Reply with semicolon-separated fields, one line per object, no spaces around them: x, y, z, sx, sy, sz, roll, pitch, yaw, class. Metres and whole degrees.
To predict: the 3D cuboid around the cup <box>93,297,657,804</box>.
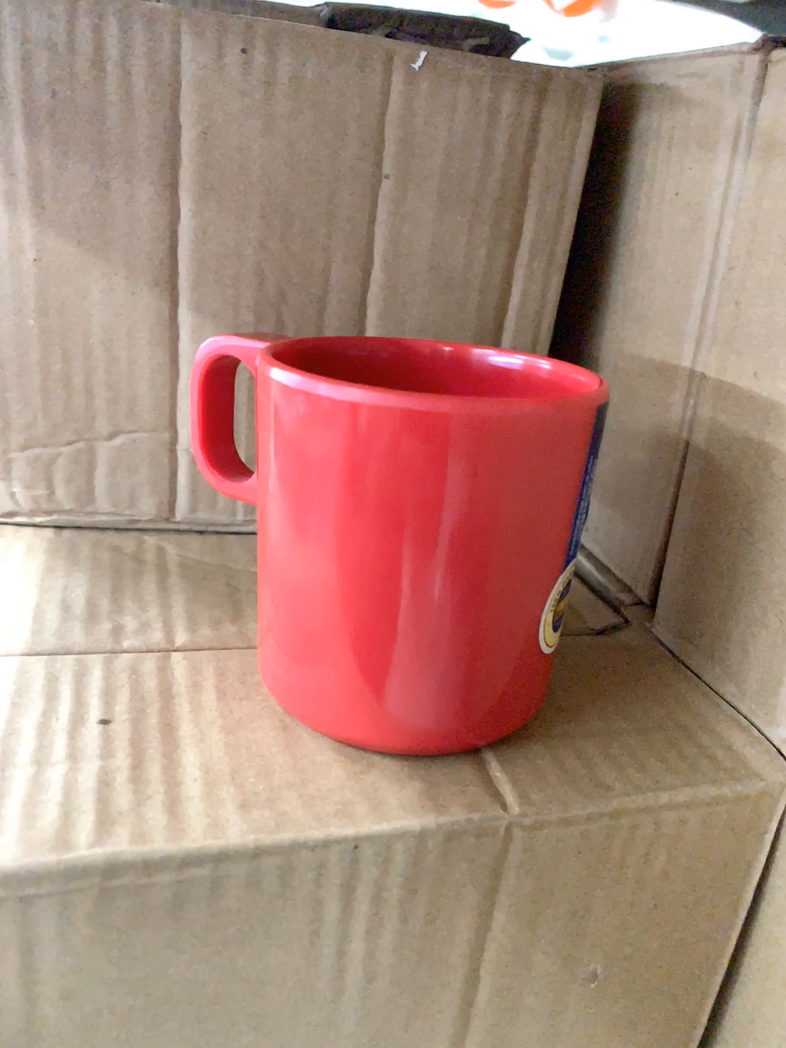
-0.008;-0.006;0.190;0.104;0.073;0.066;20;27;35;cup
